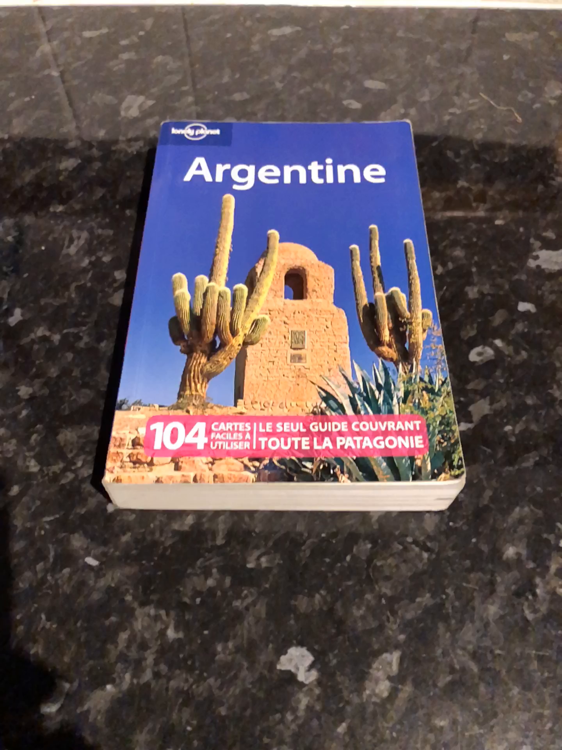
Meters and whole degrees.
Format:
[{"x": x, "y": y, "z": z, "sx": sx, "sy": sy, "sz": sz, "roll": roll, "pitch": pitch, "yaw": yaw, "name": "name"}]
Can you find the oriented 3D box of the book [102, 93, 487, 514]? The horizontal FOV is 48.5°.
[{"x": 0.005, "y": -0.046, "z": 0.278, "sx": 0.130, "sy": 0.030, "sz": 0.211, "roll": 1, "pitch": 58, "yaw": 0, "name": "book"}]
